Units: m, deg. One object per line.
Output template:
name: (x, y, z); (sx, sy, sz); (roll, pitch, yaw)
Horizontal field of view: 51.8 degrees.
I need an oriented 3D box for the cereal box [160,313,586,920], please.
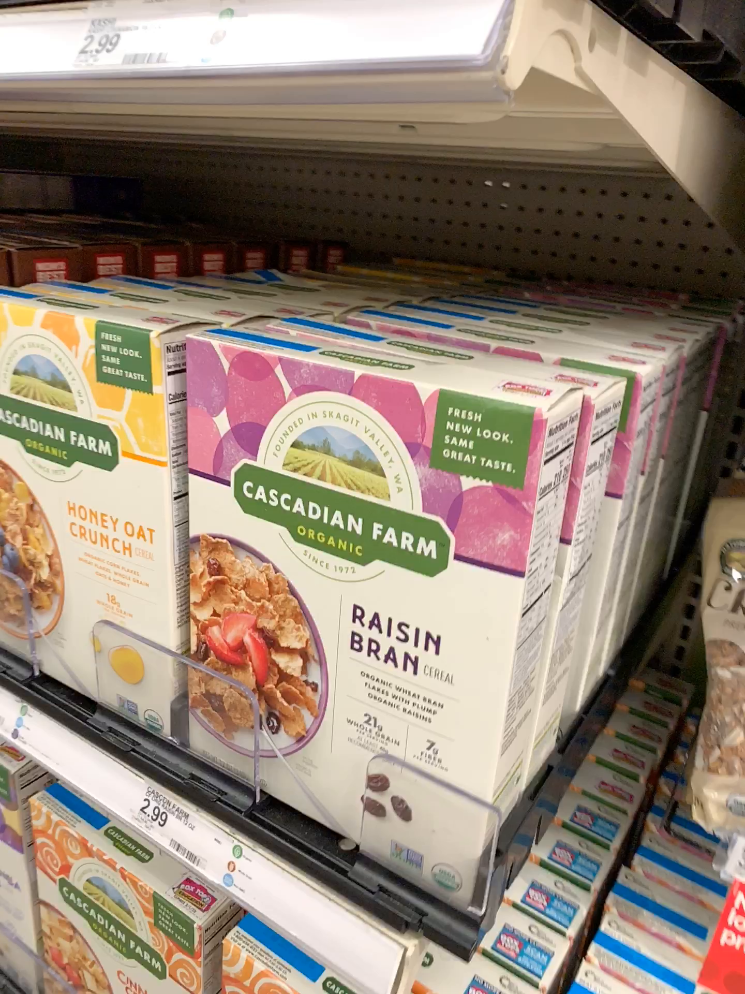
cereal box: (-0.015, 0.057, 0.404); (0.200, 0.269, 0.050); (17, 26, 28)
